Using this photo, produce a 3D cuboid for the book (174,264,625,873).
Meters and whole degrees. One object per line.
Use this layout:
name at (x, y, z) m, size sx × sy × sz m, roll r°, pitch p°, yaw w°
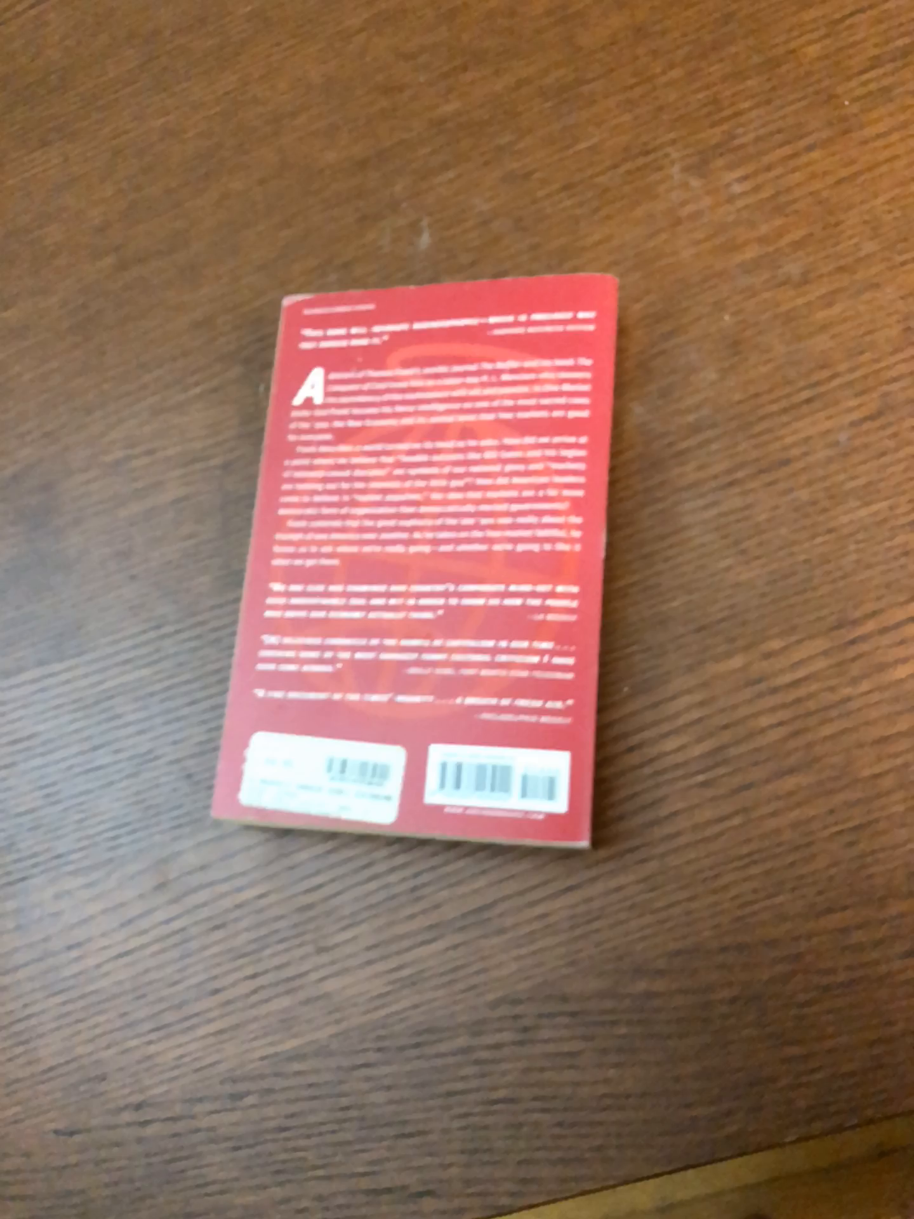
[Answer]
book at (-0.016, -0.019, 0.371) m, size 0.140 × 0.030 × 0.210 m, roll 1°, pitch 75°, yaw 16°
